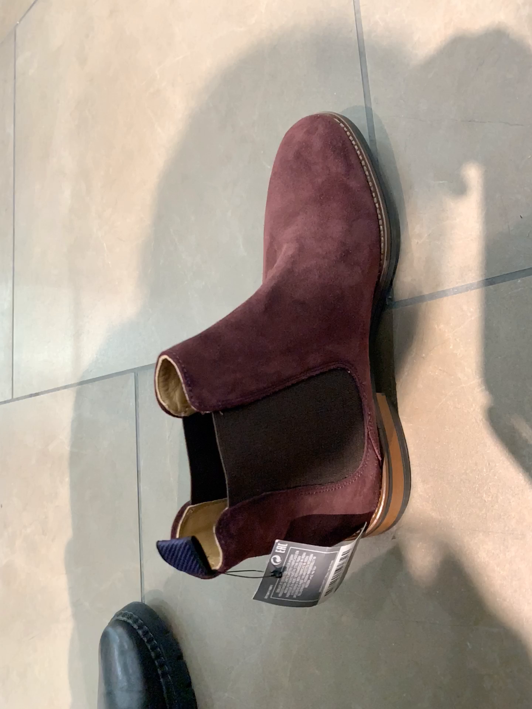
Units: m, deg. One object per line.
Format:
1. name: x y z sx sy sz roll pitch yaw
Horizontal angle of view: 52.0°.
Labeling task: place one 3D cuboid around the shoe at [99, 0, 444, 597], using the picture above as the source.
1. shoe: 0.001 -0.029 0.348 0.114 0.161 0.298 -15 75 41
